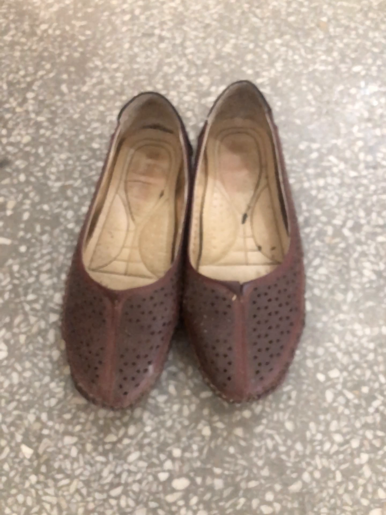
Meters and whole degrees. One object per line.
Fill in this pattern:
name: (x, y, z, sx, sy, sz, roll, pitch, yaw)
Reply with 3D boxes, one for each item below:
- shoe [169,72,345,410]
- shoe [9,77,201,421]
shoe: (0.035, -0.013, 0.322, 0.095, 0.080, 0.231, -2, 70, 1)
shoe: (-0.049, -0.009, 0.325, 0.087, 0.080, 0.236, 5, 70, 4)
